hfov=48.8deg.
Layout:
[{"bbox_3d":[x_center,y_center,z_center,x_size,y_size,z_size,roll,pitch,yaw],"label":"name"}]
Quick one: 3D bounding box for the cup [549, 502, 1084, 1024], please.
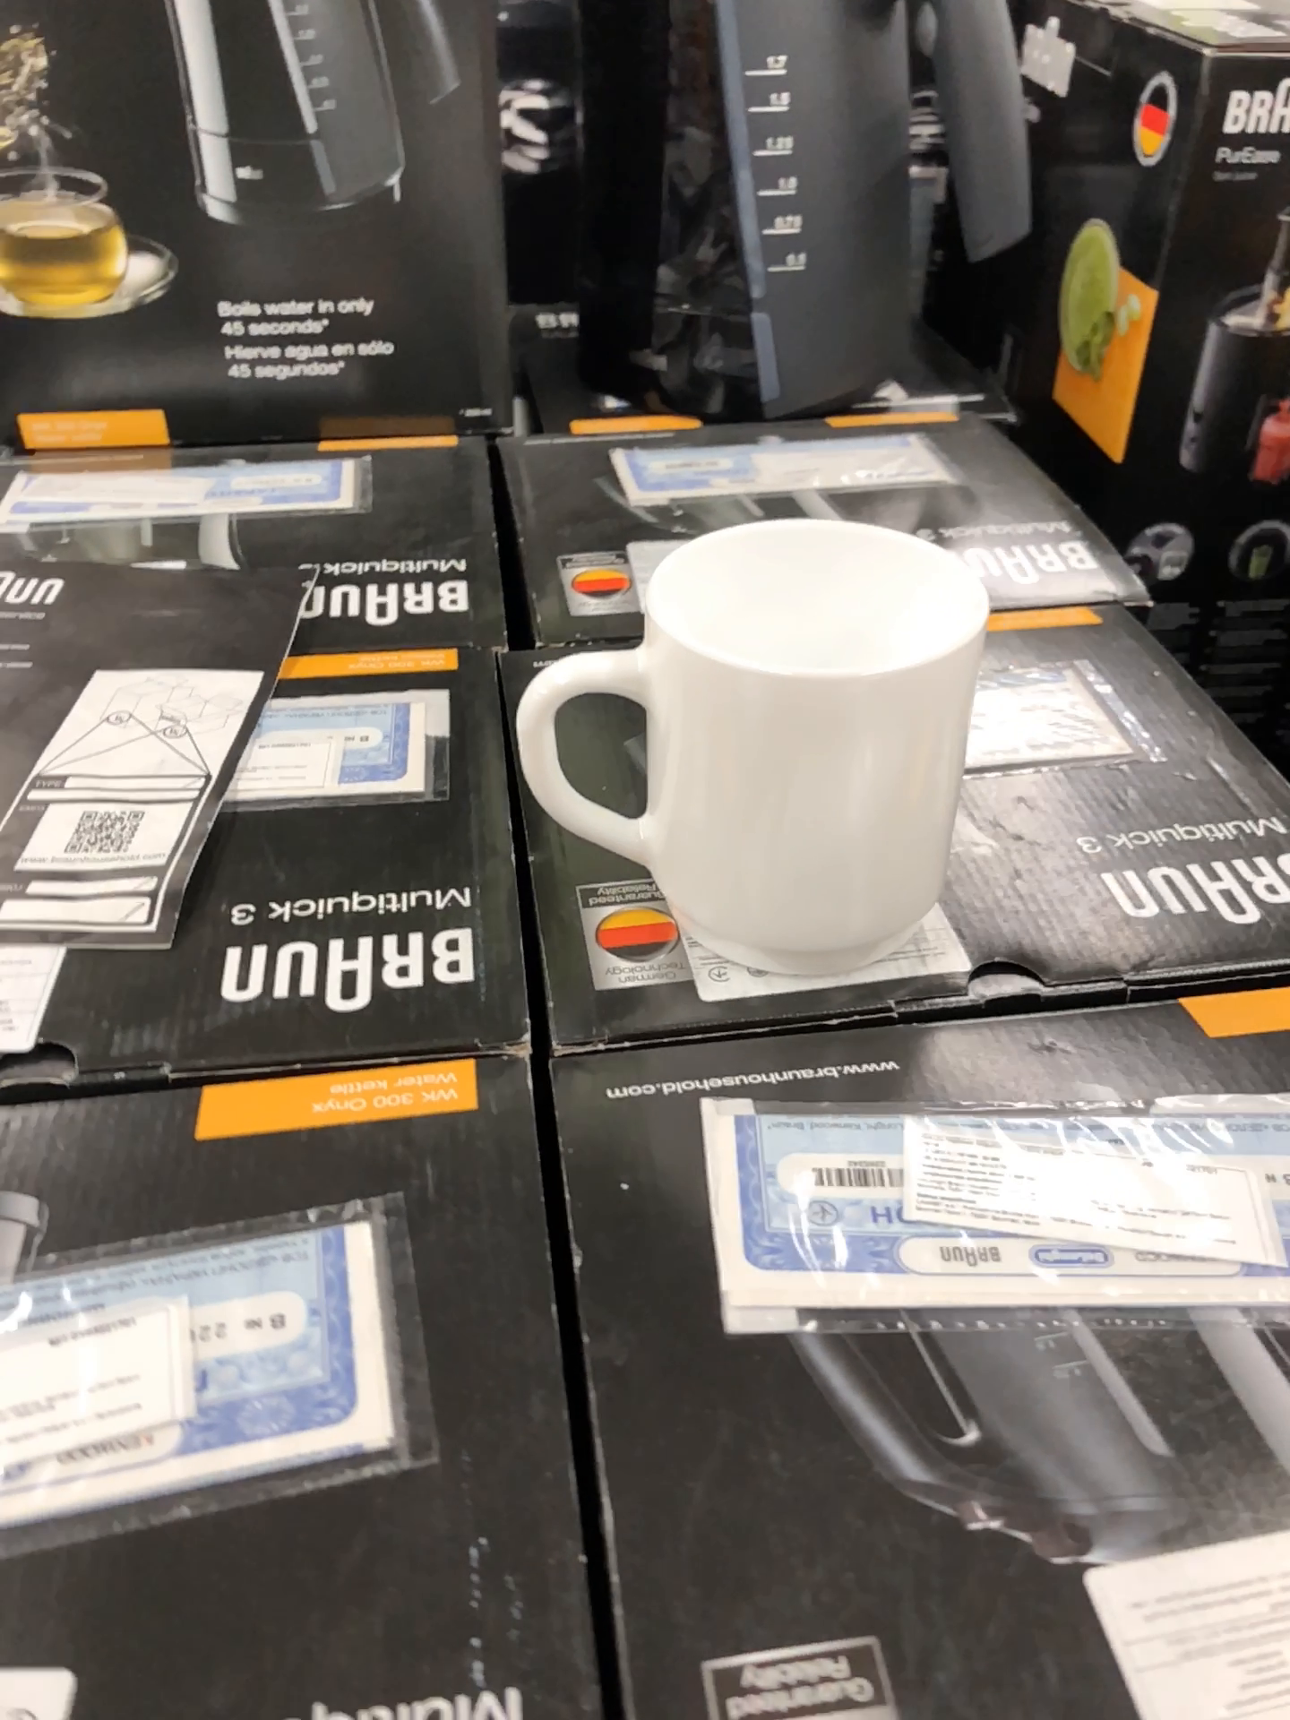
[{"bbox_3d":[0.035,-0.026,0.352,0.110,0.091,0.083,-4,35,-1],"label":"cup"}]
